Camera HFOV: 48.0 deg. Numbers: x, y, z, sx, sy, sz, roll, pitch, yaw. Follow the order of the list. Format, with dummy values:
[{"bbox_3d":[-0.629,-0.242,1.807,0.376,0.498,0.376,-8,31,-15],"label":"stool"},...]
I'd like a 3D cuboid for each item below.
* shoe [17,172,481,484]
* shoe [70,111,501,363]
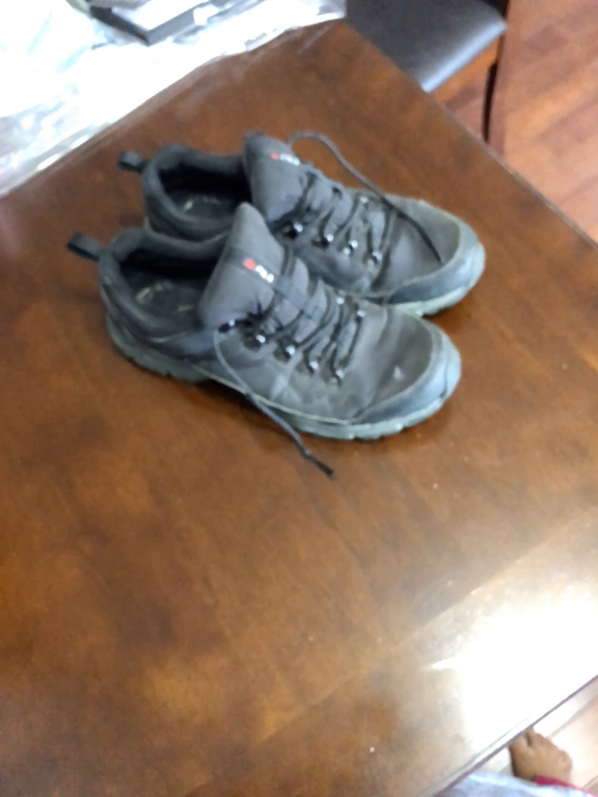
[{"bbox_3d":[-0.032,-0.056,0.562,0.320,0.170,0.120,16,69,15],"label":"shoe"},{"bbox_3d":[-0.004,-0.140,0.589,0.320,0.150,0.120,9,67,12],"label":"shoe"}]
